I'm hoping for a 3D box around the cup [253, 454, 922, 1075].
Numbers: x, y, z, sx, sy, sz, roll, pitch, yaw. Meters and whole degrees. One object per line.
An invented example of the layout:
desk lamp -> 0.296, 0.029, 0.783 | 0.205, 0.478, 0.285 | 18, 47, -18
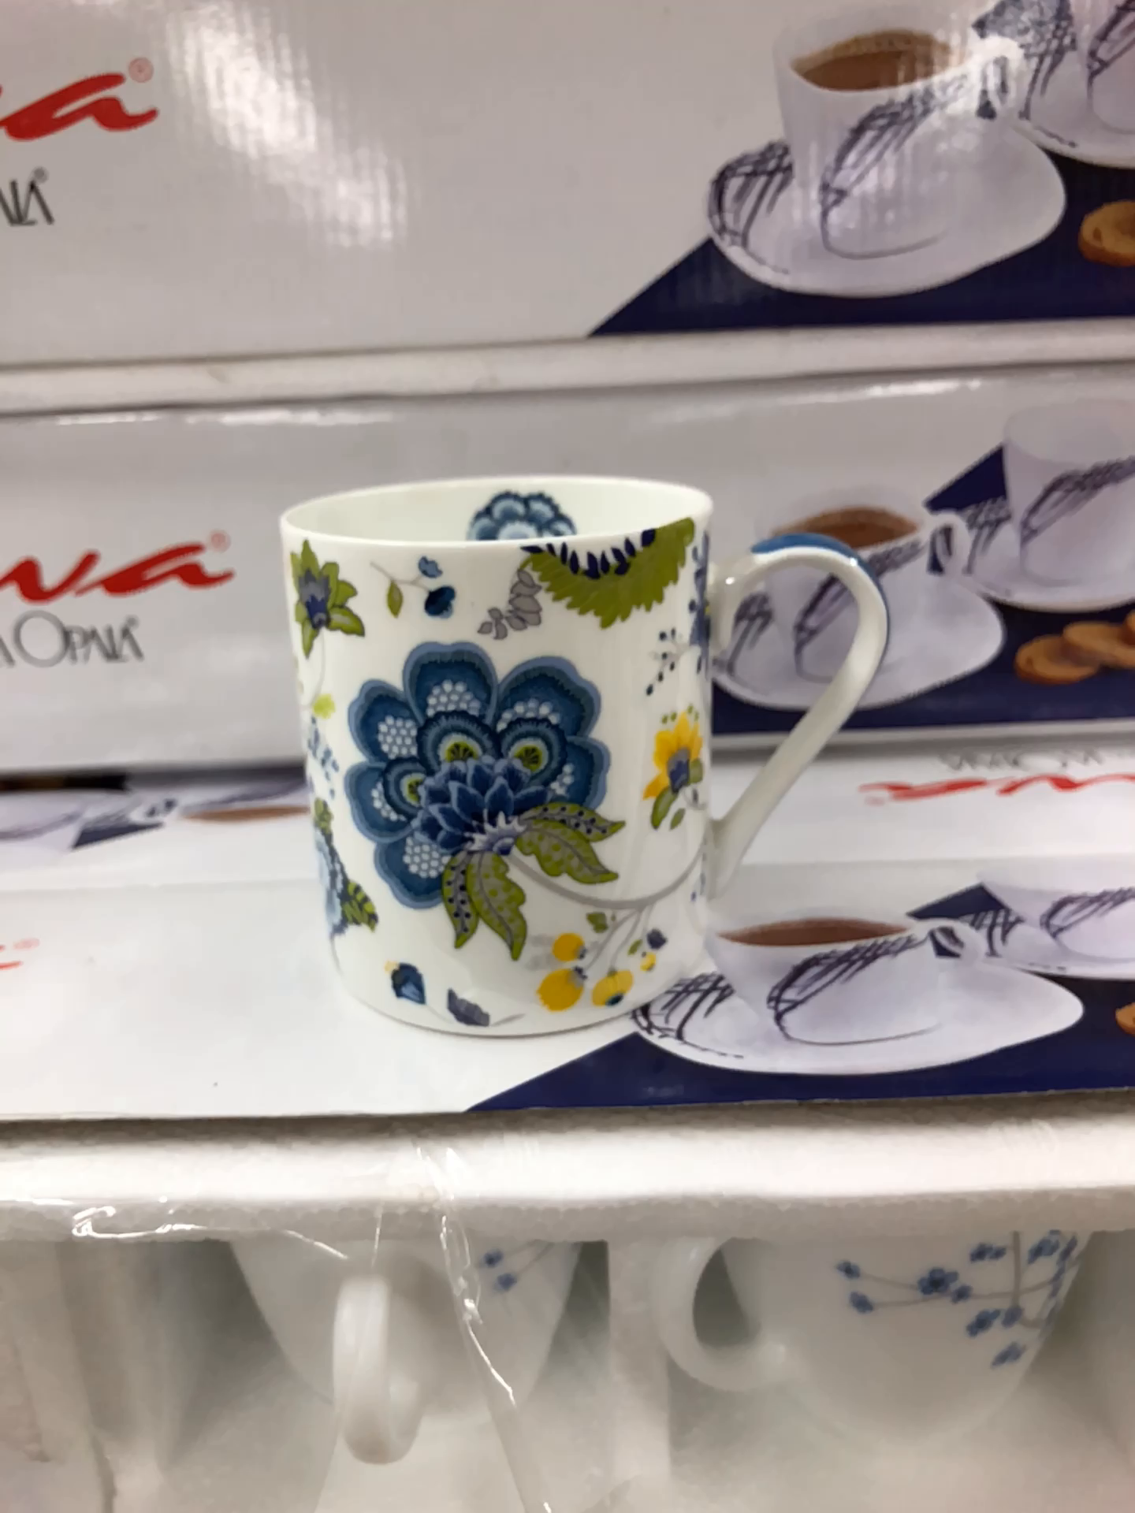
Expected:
cup -> 0.002, -0.004, 0.238 | 0.100, 0.090, 0.070 | -4, 20, -5
